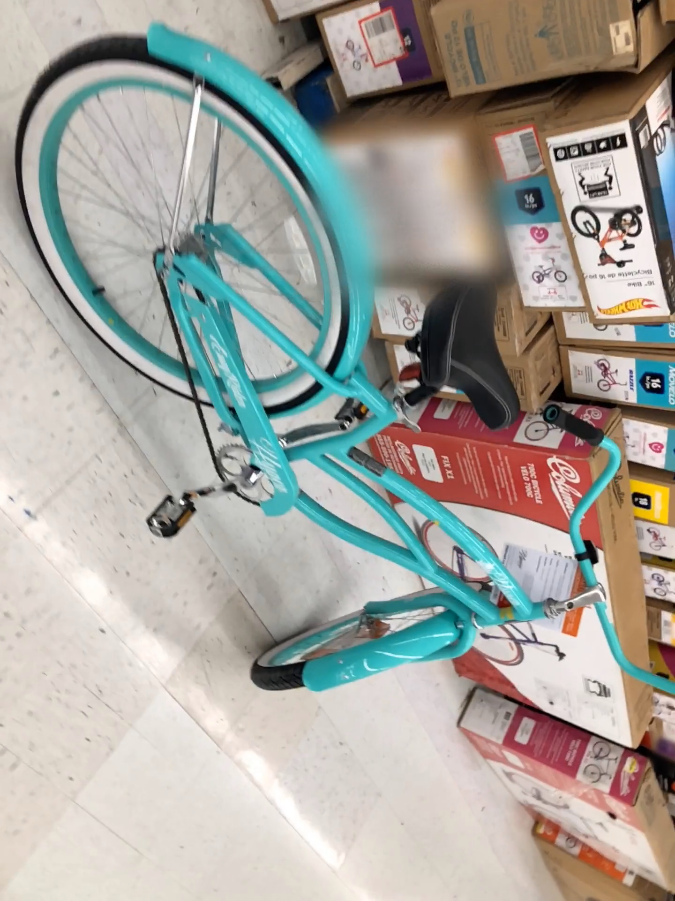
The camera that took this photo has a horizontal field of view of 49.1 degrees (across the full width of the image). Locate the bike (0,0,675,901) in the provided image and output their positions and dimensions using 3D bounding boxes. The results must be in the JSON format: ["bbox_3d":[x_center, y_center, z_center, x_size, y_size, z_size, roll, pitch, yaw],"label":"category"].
[{"bbox_3d":[0.169,-0.026,1.394,0.853,1.152,1.588,-58,136,-25],"label":"bike"}]
